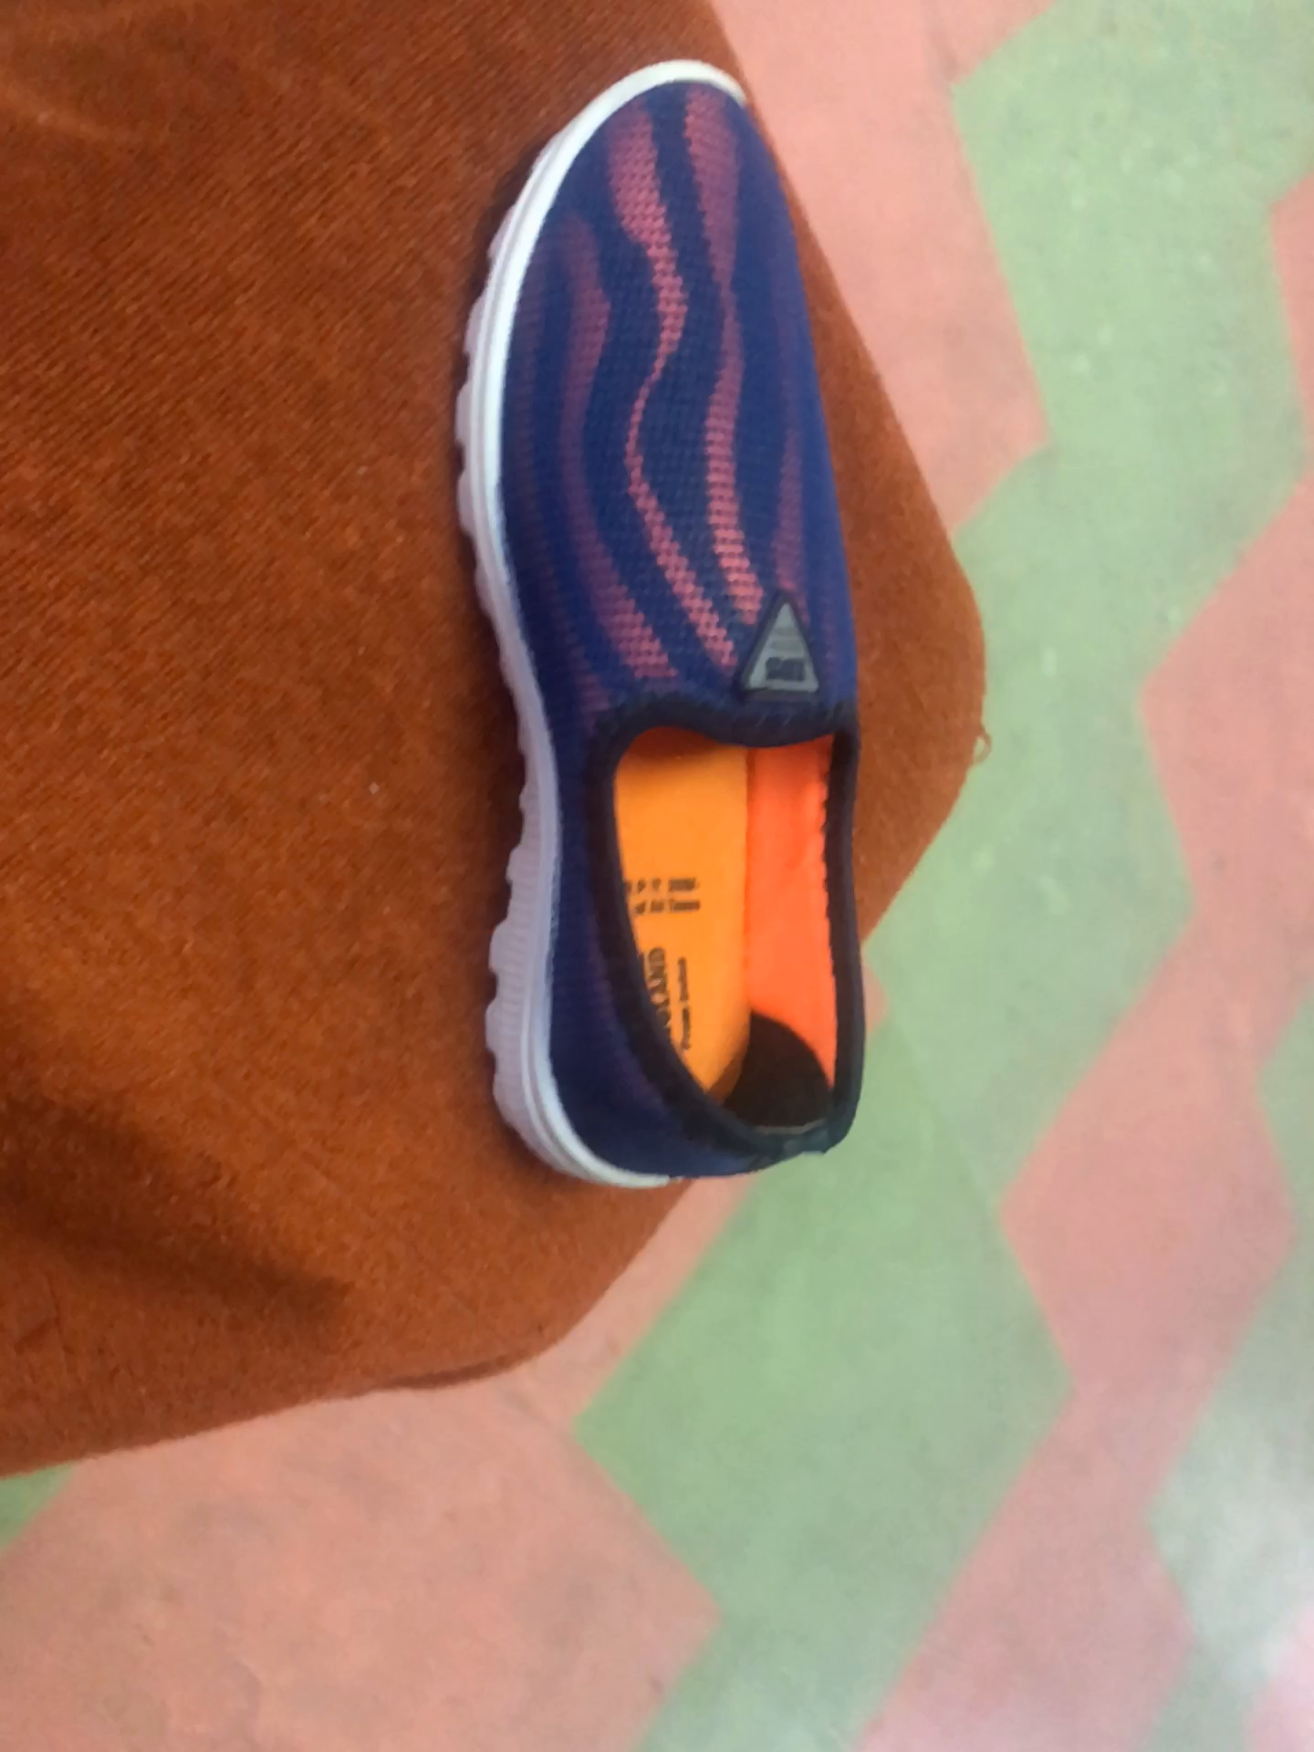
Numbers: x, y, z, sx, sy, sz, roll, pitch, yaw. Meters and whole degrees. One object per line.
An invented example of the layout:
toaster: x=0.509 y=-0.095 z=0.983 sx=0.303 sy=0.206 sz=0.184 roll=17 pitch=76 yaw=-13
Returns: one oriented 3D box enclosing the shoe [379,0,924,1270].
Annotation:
shoe: x=-0.004 y=-0.059 z=0.326 sx=0.091 sy=0.069 sz=0.260 roll=-7 pitch=102 yaw=-42
